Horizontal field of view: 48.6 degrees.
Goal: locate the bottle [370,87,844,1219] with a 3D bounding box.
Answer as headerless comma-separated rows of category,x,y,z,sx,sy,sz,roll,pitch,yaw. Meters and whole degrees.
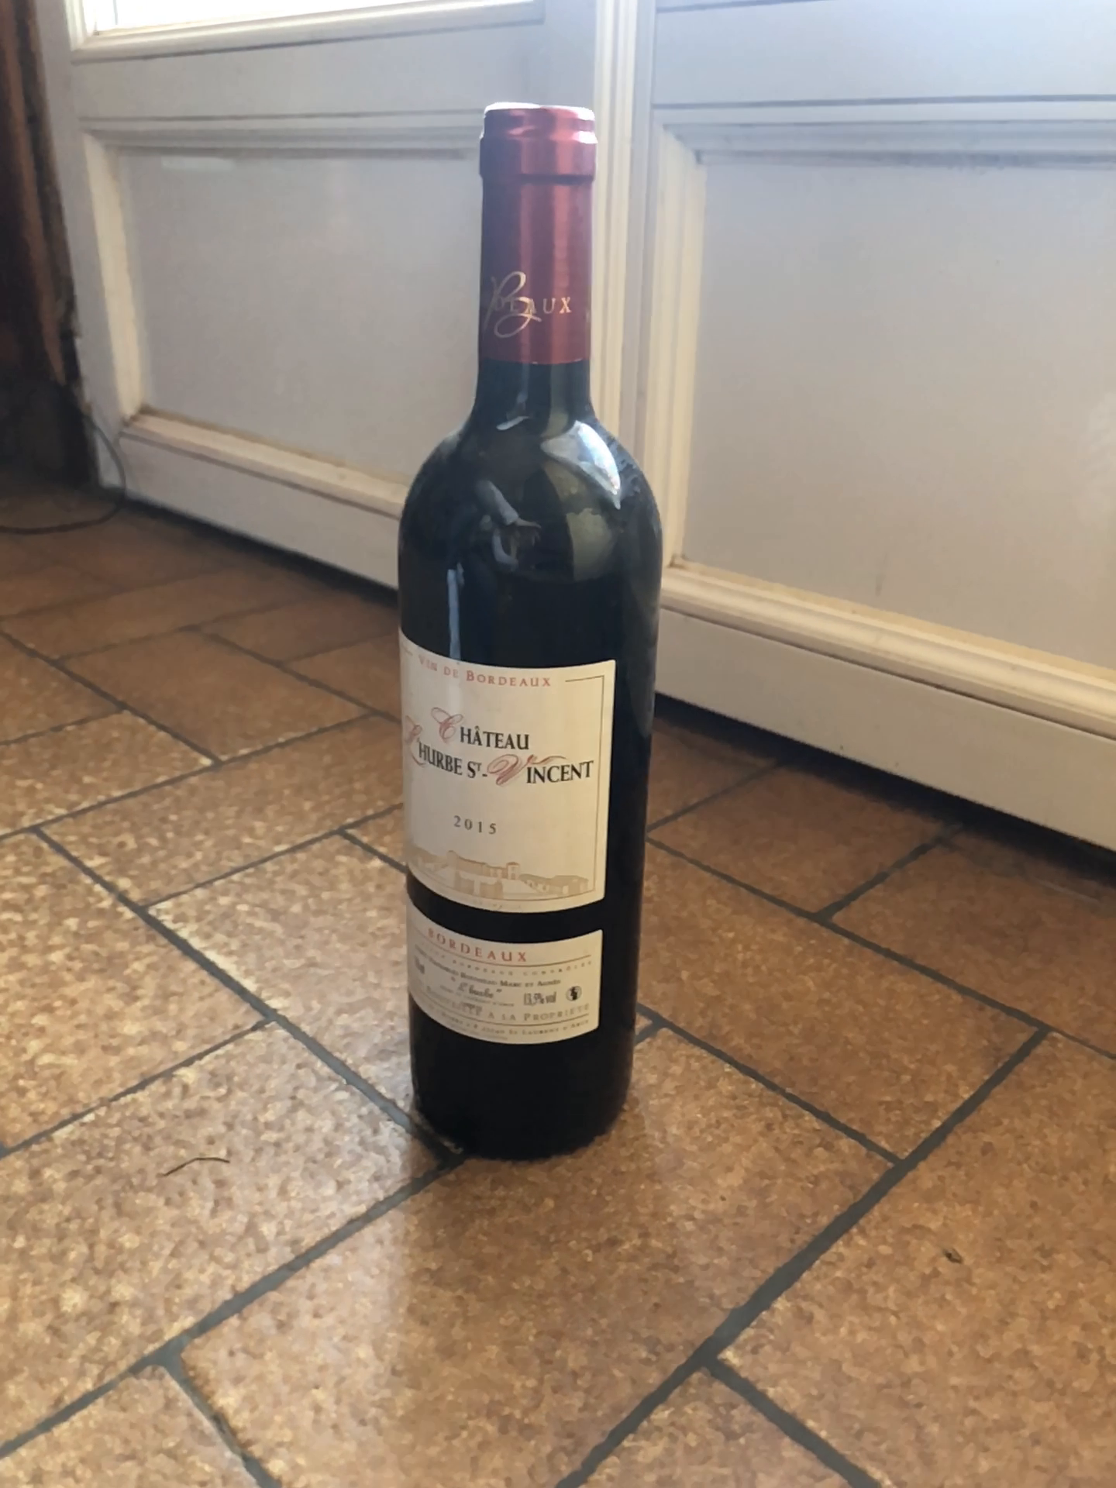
bottle,0.014,-0.019,0.349,0.090,0.288,0.091,1,24,0
